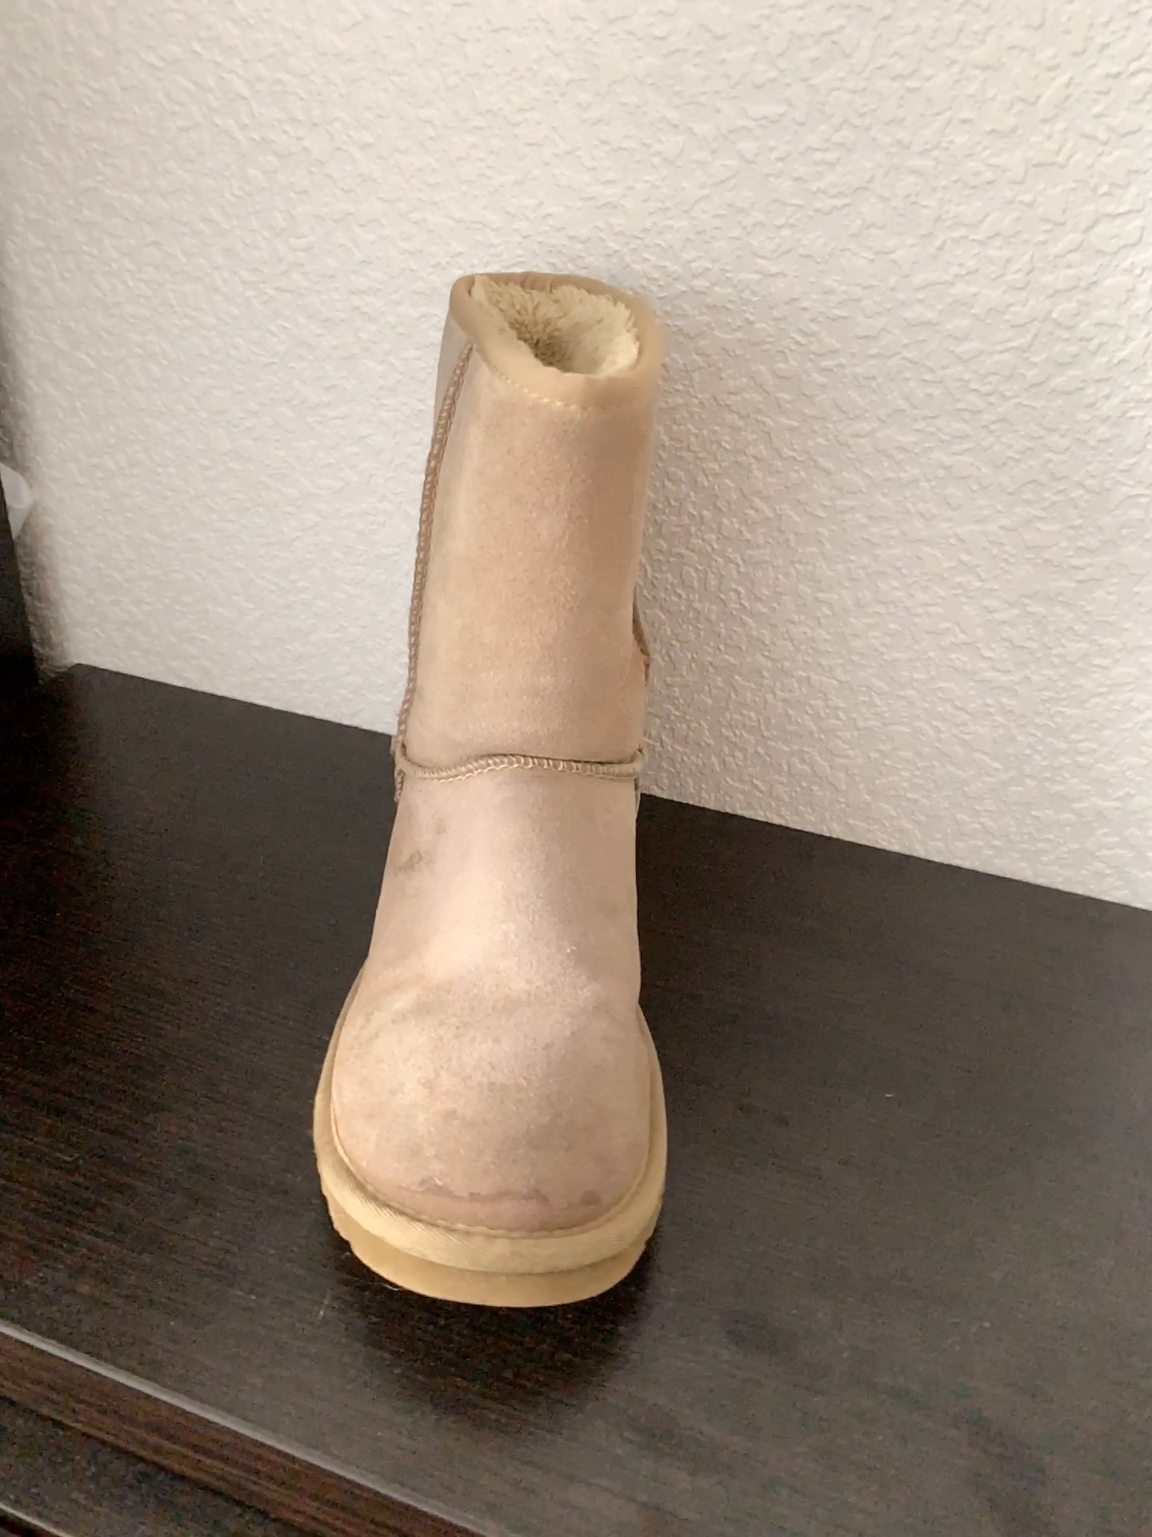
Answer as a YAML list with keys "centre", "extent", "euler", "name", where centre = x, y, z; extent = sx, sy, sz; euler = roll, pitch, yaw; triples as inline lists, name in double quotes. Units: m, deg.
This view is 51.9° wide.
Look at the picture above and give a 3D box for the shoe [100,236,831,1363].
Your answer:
- centre: [-0.019, -0.017, 0.358]
  extent: [0.116, 0.229, 0.261]
  euler: [4, 30, 0]
  name: "shoe"
